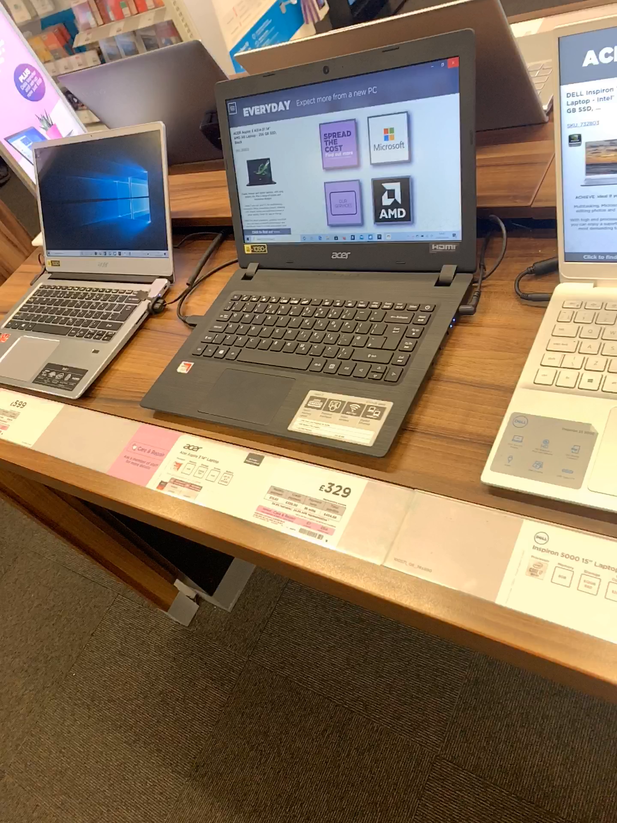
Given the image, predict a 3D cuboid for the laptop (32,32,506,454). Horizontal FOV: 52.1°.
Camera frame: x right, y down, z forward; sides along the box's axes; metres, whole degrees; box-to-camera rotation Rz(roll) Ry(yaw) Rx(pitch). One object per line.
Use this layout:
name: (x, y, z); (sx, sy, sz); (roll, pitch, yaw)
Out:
laptop: (-0.021, -0.183, 0.668); (0.326, 0.193, 0.356); (10, 57, 35)
